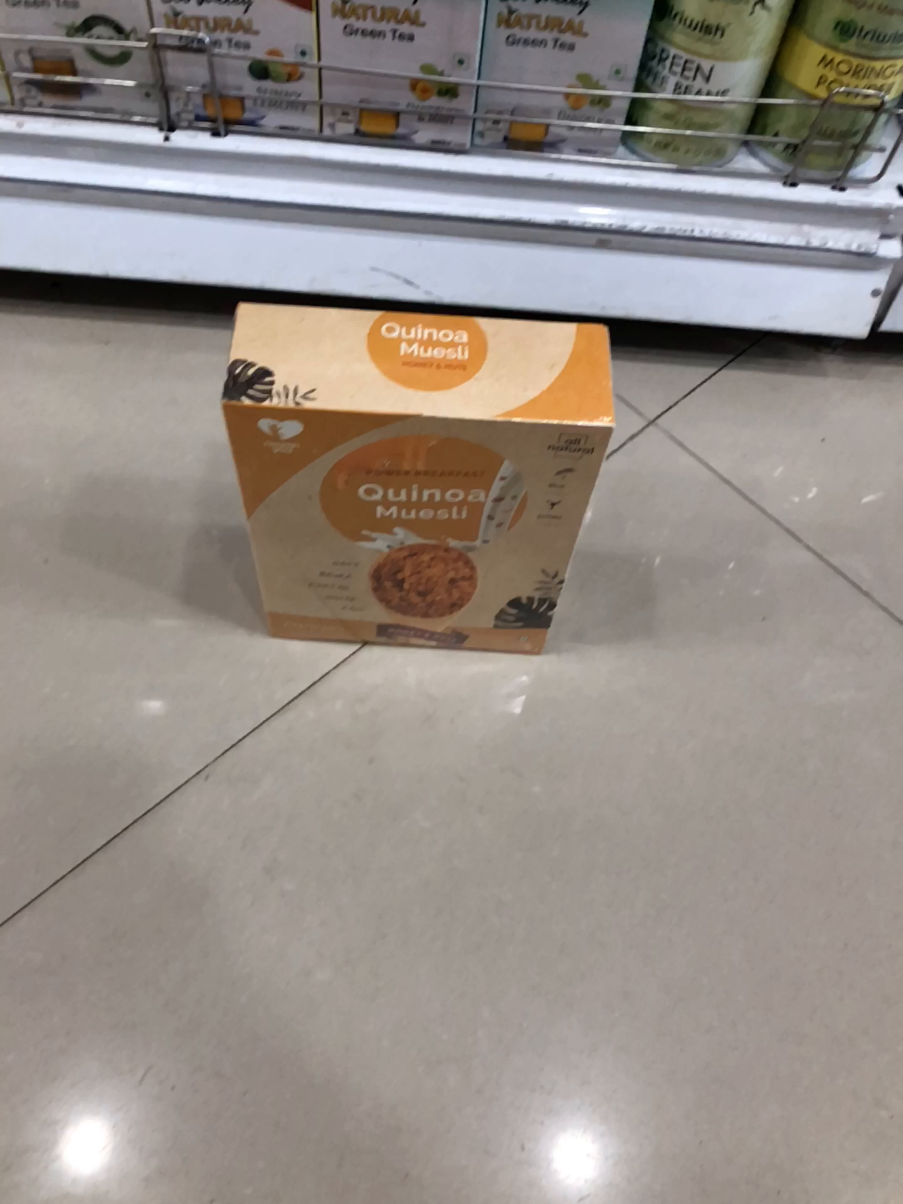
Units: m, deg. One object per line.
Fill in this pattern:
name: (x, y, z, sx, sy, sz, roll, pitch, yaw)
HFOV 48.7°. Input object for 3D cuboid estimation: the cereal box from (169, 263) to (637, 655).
cereal box: (-0.022, -0.052, 0.464, 0.170, 0.199, 0.060, 4, 61, -2)
